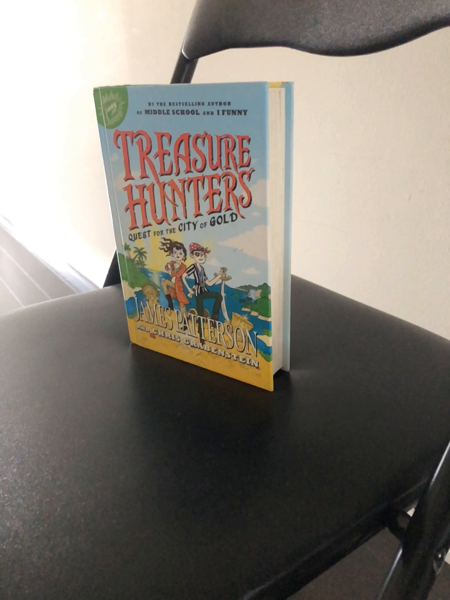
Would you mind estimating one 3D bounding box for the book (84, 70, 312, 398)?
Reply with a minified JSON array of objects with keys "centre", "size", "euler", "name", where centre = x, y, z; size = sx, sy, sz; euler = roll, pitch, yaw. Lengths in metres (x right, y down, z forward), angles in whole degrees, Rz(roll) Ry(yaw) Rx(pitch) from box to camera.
[{"centre":[-0.016,-0.048,0.374],"size":[0.155,0.215,0.040],"euler":[13,32,34],"name":"book"}]
